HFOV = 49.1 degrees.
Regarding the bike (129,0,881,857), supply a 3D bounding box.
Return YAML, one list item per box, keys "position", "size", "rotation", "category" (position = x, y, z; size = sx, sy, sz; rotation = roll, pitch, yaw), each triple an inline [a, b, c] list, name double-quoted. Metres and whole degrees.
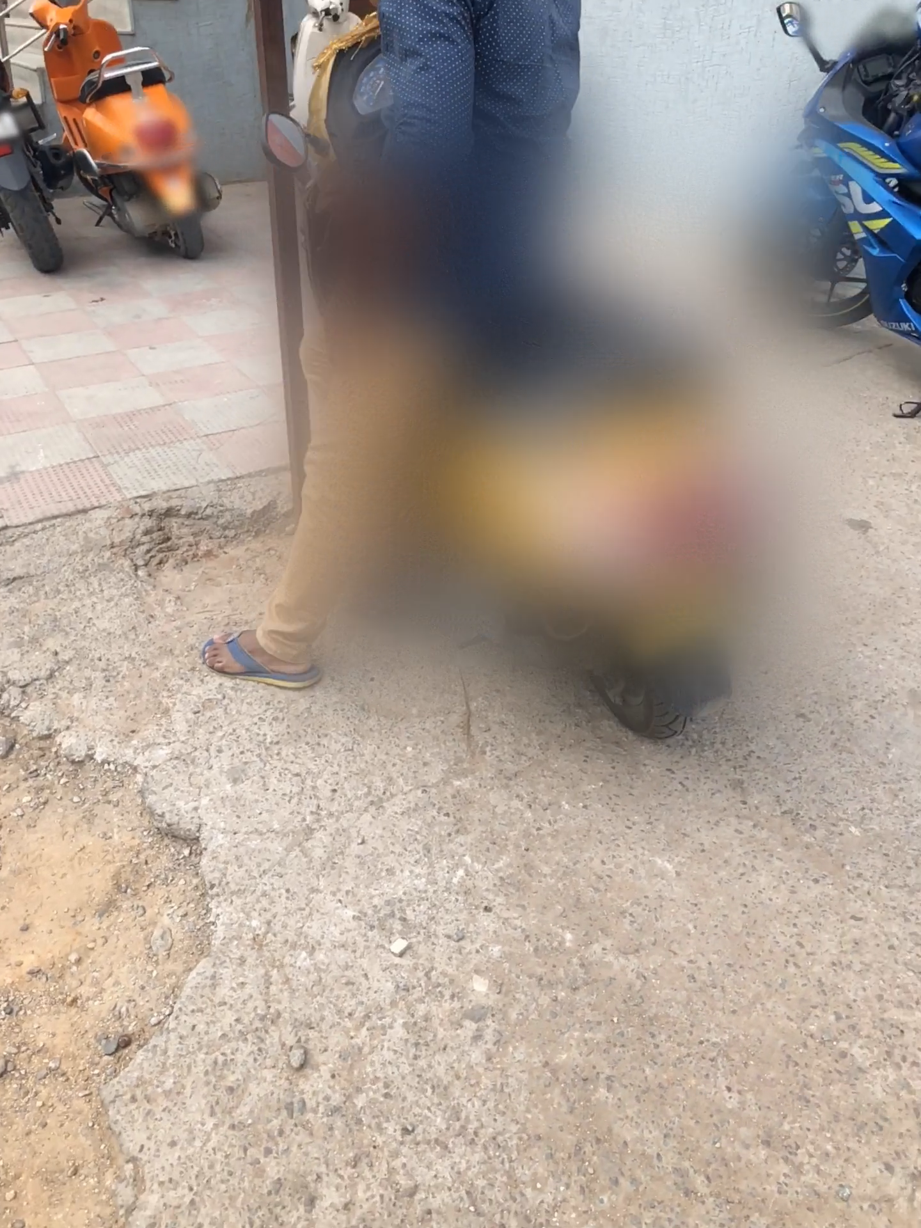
- position: [-0.093, -0.585, 1.990]
  size: [0.586, 1.153, 1.532]
  rotation: [-14, 37, -24]
  category: "bike"
